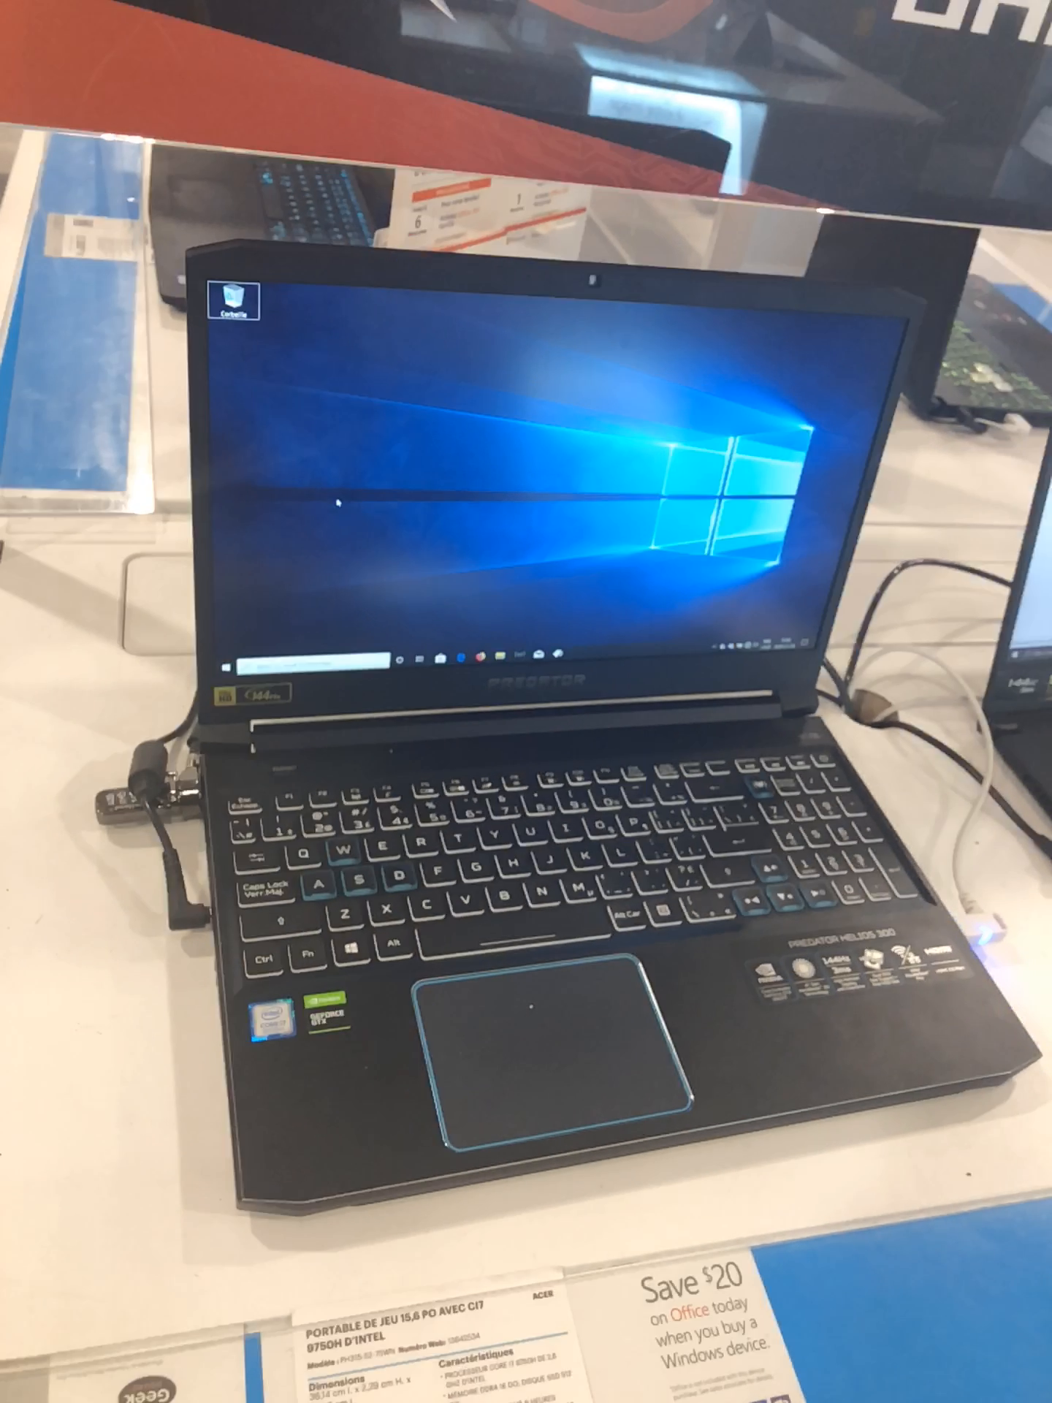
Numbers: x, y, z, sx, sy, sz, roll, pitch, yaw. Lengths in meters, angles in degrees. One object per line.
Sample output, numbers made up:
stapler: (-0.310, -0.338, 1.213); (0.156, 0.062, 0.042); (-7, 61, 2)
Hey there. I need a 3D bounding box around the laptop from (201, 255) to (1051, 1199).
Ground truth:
laptop: (0.048, -0.010, 0.493); (0.348, 0.230, 0.274); (-3, 43, -17)
